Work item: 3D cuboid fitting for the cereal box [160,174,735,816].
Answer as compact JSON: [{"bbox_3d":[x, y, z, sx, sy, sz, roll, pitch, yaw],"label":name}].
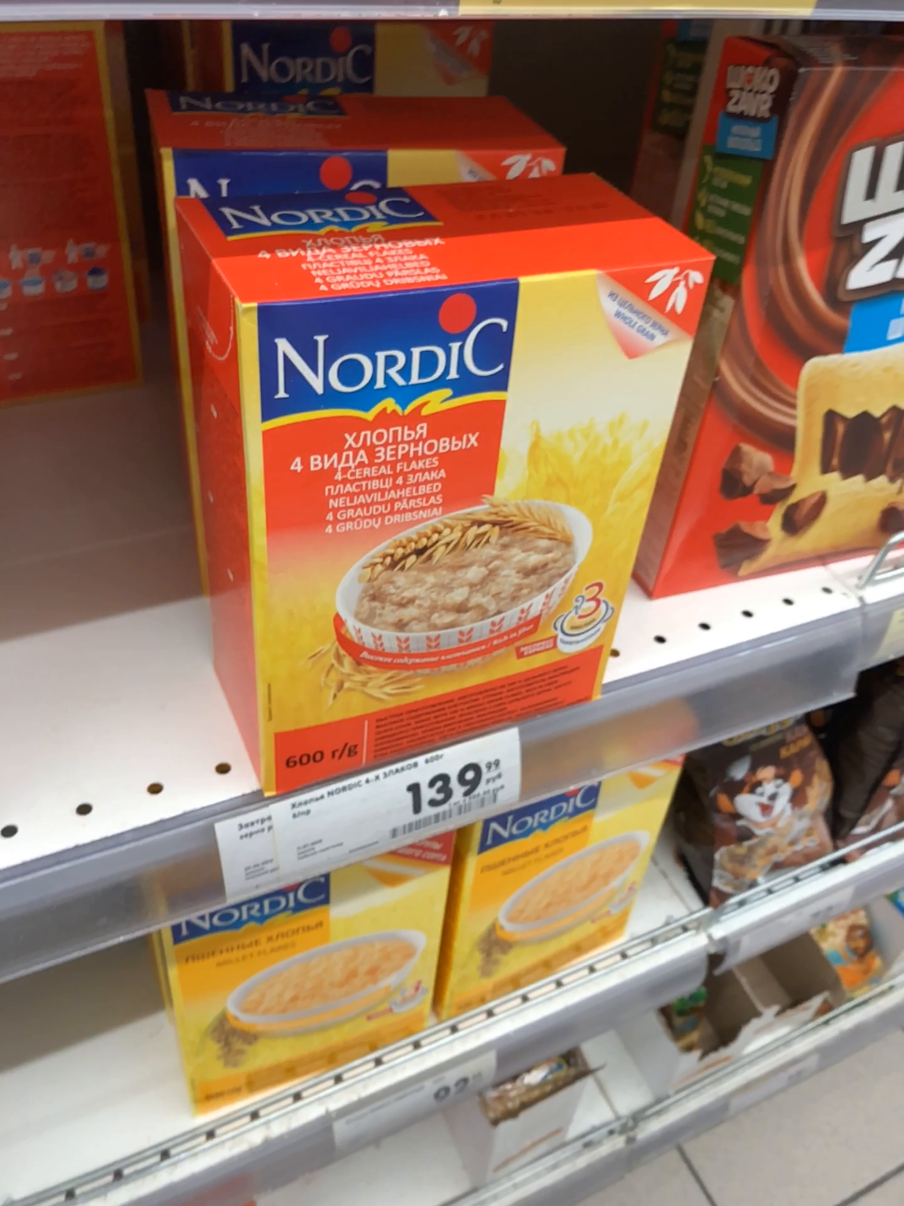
[{"bbox_3d":[-0.009,-0.036,0.357,0.150,0.189,0.080,-14,44,-22],"label":"cereal box"}]
